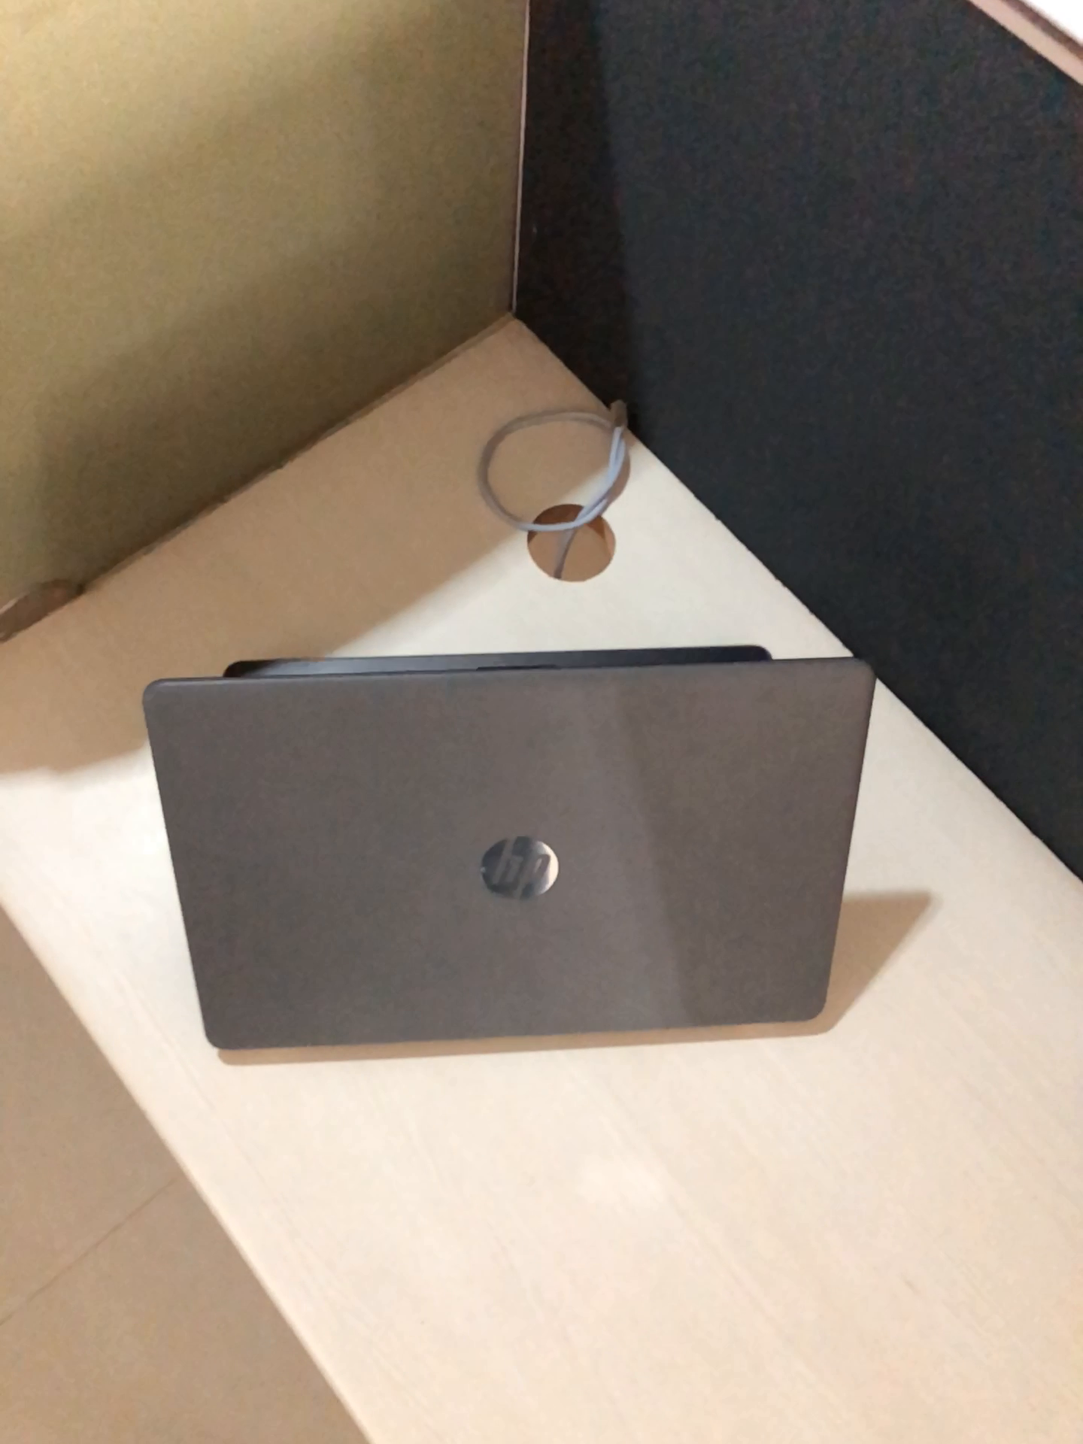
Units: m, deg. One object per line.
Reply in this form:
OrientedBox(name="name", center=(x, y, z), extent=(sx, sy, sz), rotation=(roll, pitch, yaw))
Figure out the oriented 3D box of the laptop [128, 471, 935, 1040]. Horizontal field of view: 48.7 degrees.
OrientedBox(name="laptop", center=(-0.014, 0.029, 0.671), extent=(0.361, 0.205, 0.247), rotation=(-2, 69, -3))
